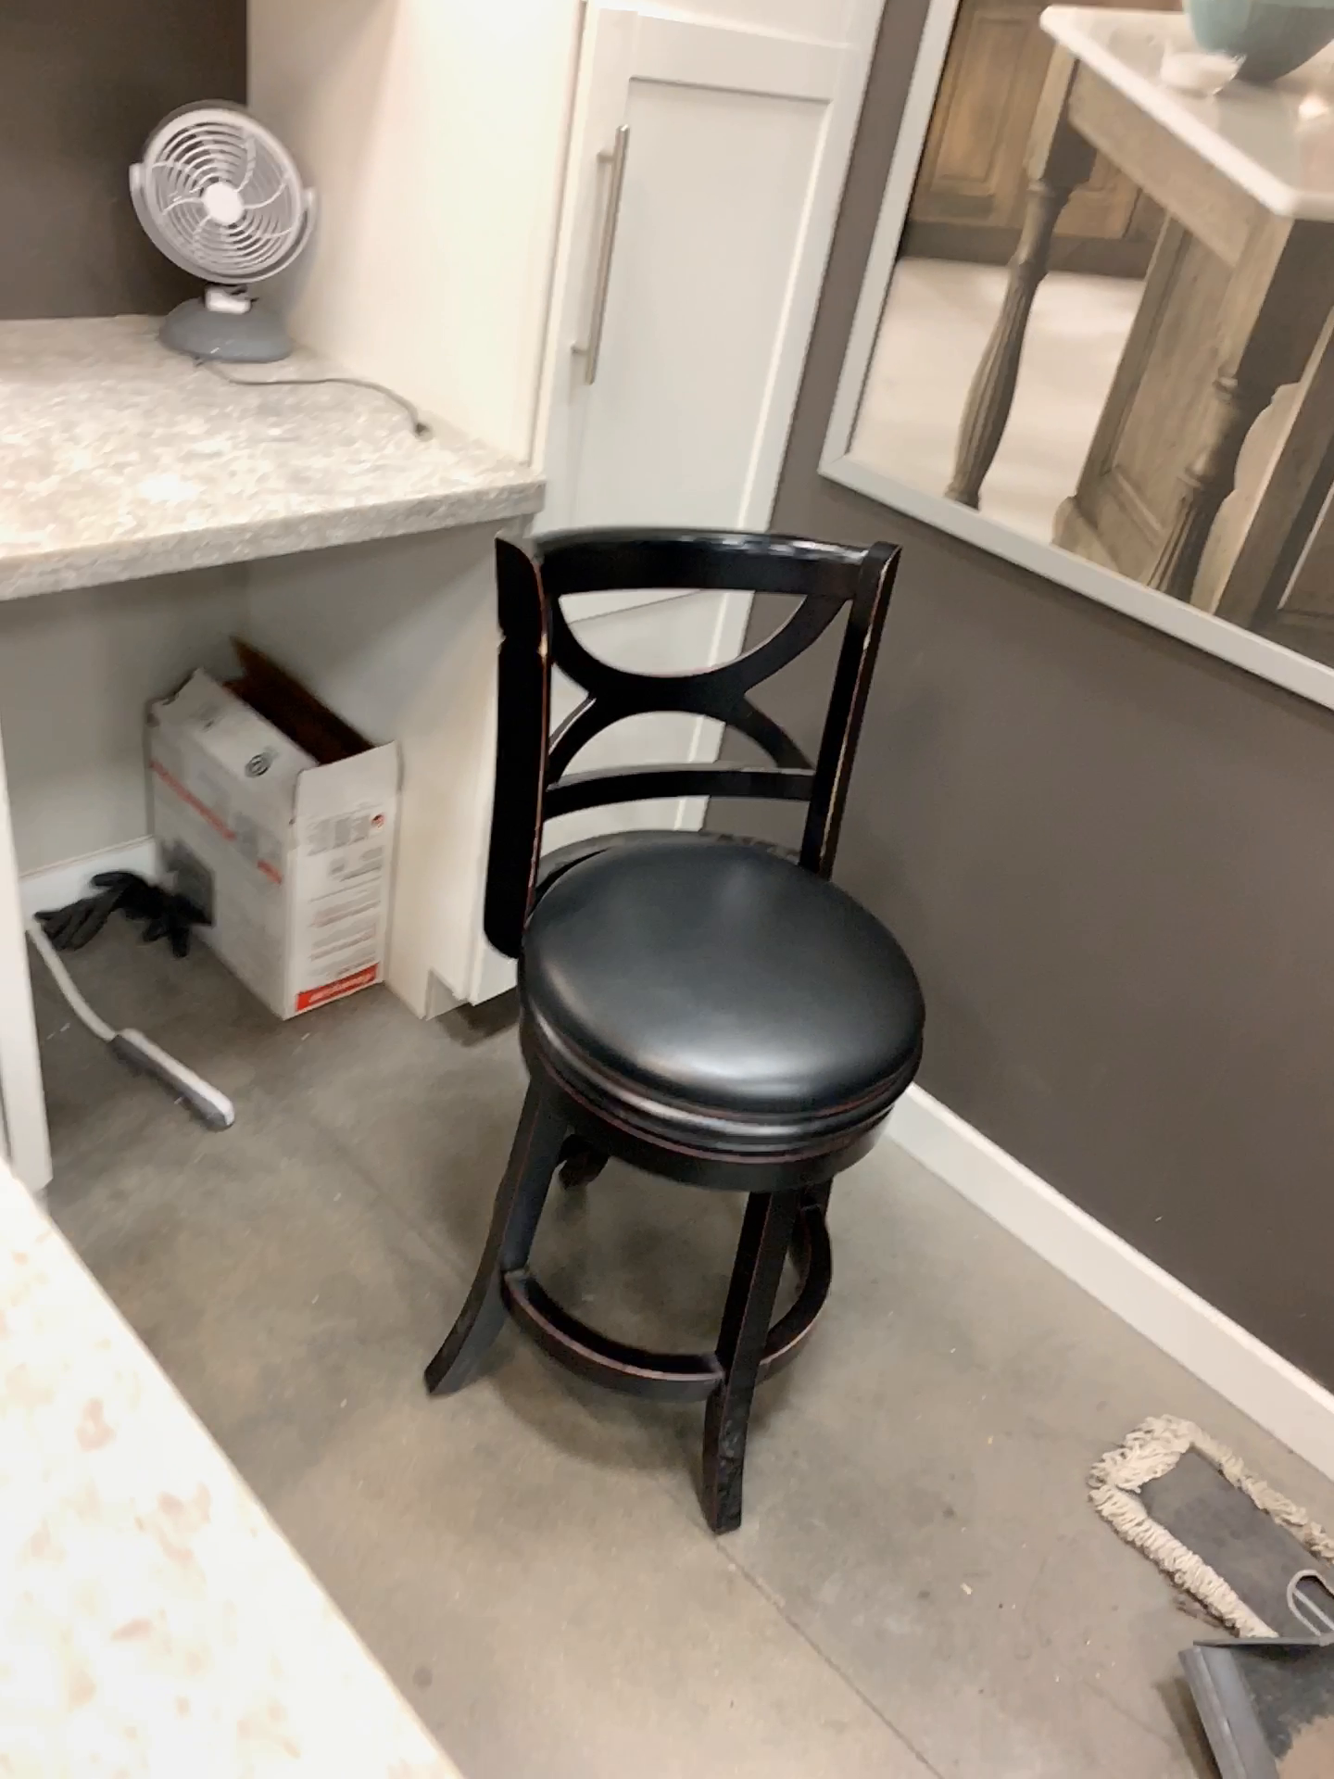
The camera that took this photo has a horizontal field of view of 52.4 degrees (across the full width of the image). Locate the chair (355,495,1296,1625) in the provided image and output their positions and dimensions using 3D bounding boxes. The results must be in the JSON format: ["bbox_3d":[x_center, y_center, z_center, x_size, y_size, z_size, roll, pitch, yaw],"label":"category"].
[{"bbox_3d":[0.044,0.150,1.418,0.558,0.912,0.606,-6,38,-25],"label":"chair"}]
